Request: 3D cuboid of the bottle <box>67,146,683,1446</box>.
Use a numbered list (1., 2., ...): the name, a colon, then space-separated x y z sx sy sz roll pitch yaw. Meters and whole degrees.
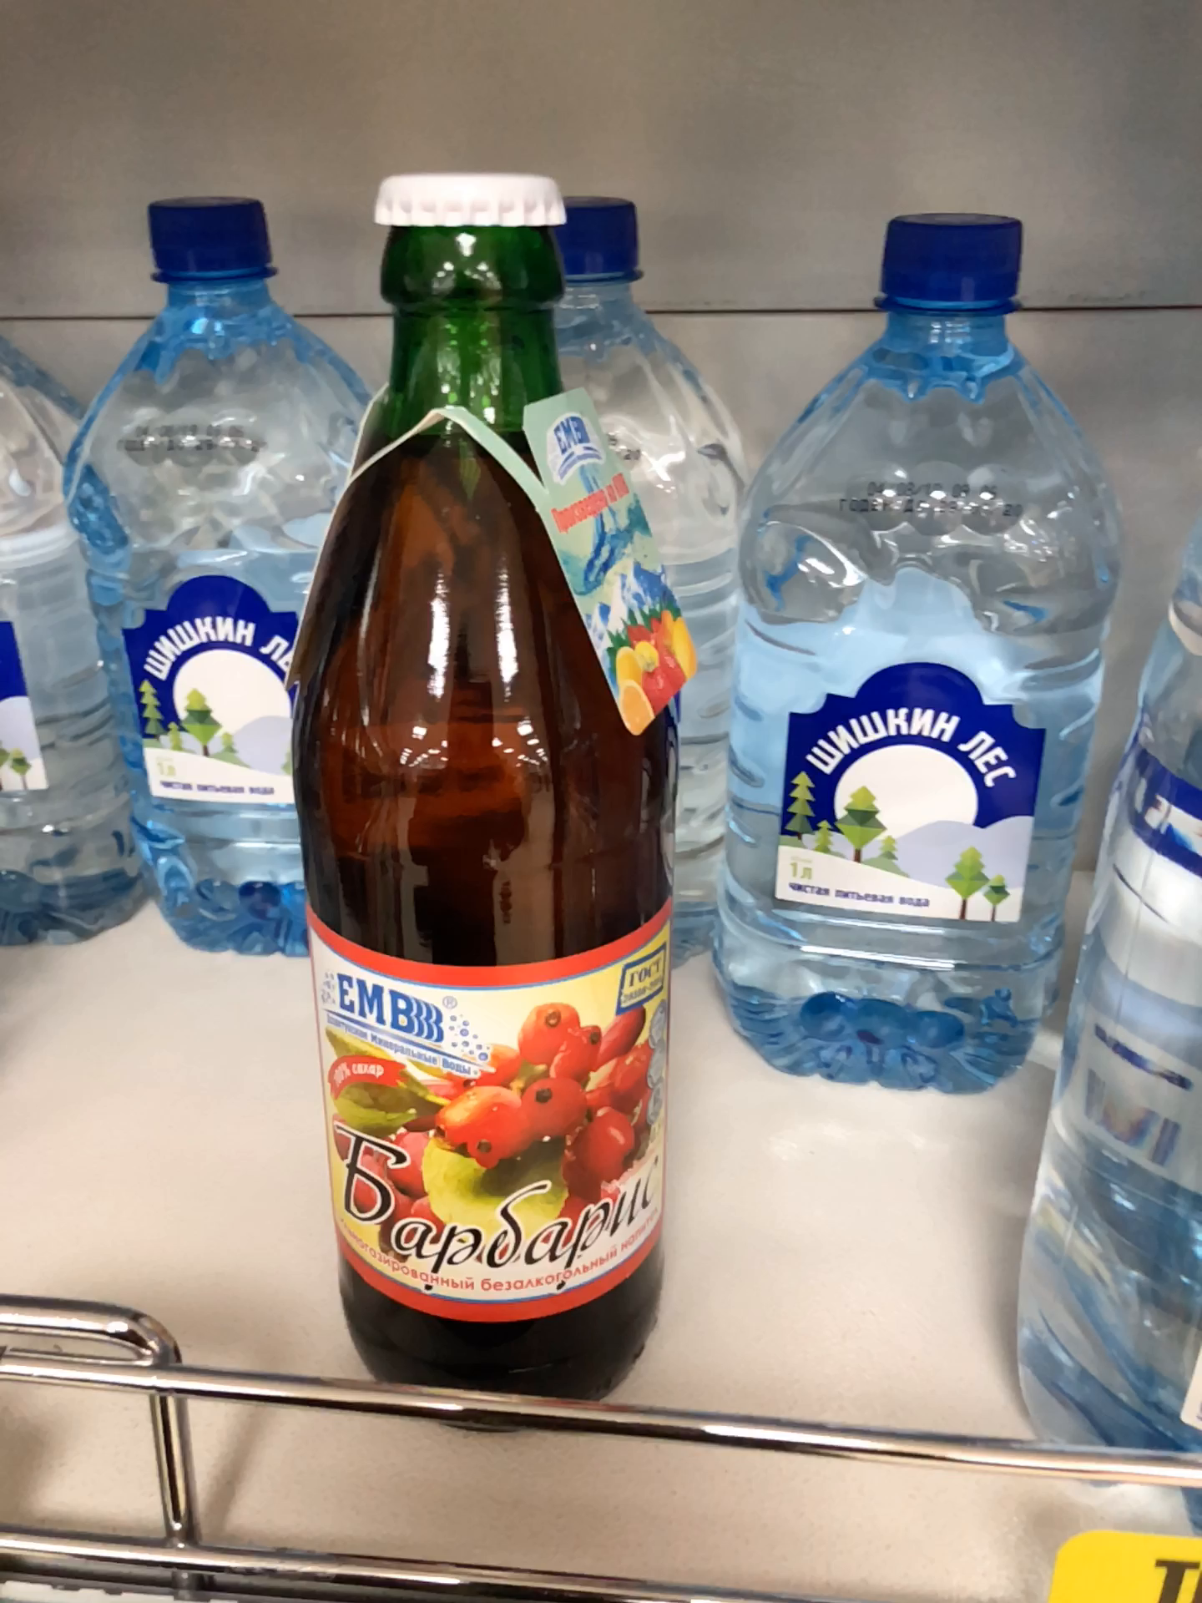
1. bottle: -0.024 0.009 0.236 0.073 0.222 0.057 2 26 7
